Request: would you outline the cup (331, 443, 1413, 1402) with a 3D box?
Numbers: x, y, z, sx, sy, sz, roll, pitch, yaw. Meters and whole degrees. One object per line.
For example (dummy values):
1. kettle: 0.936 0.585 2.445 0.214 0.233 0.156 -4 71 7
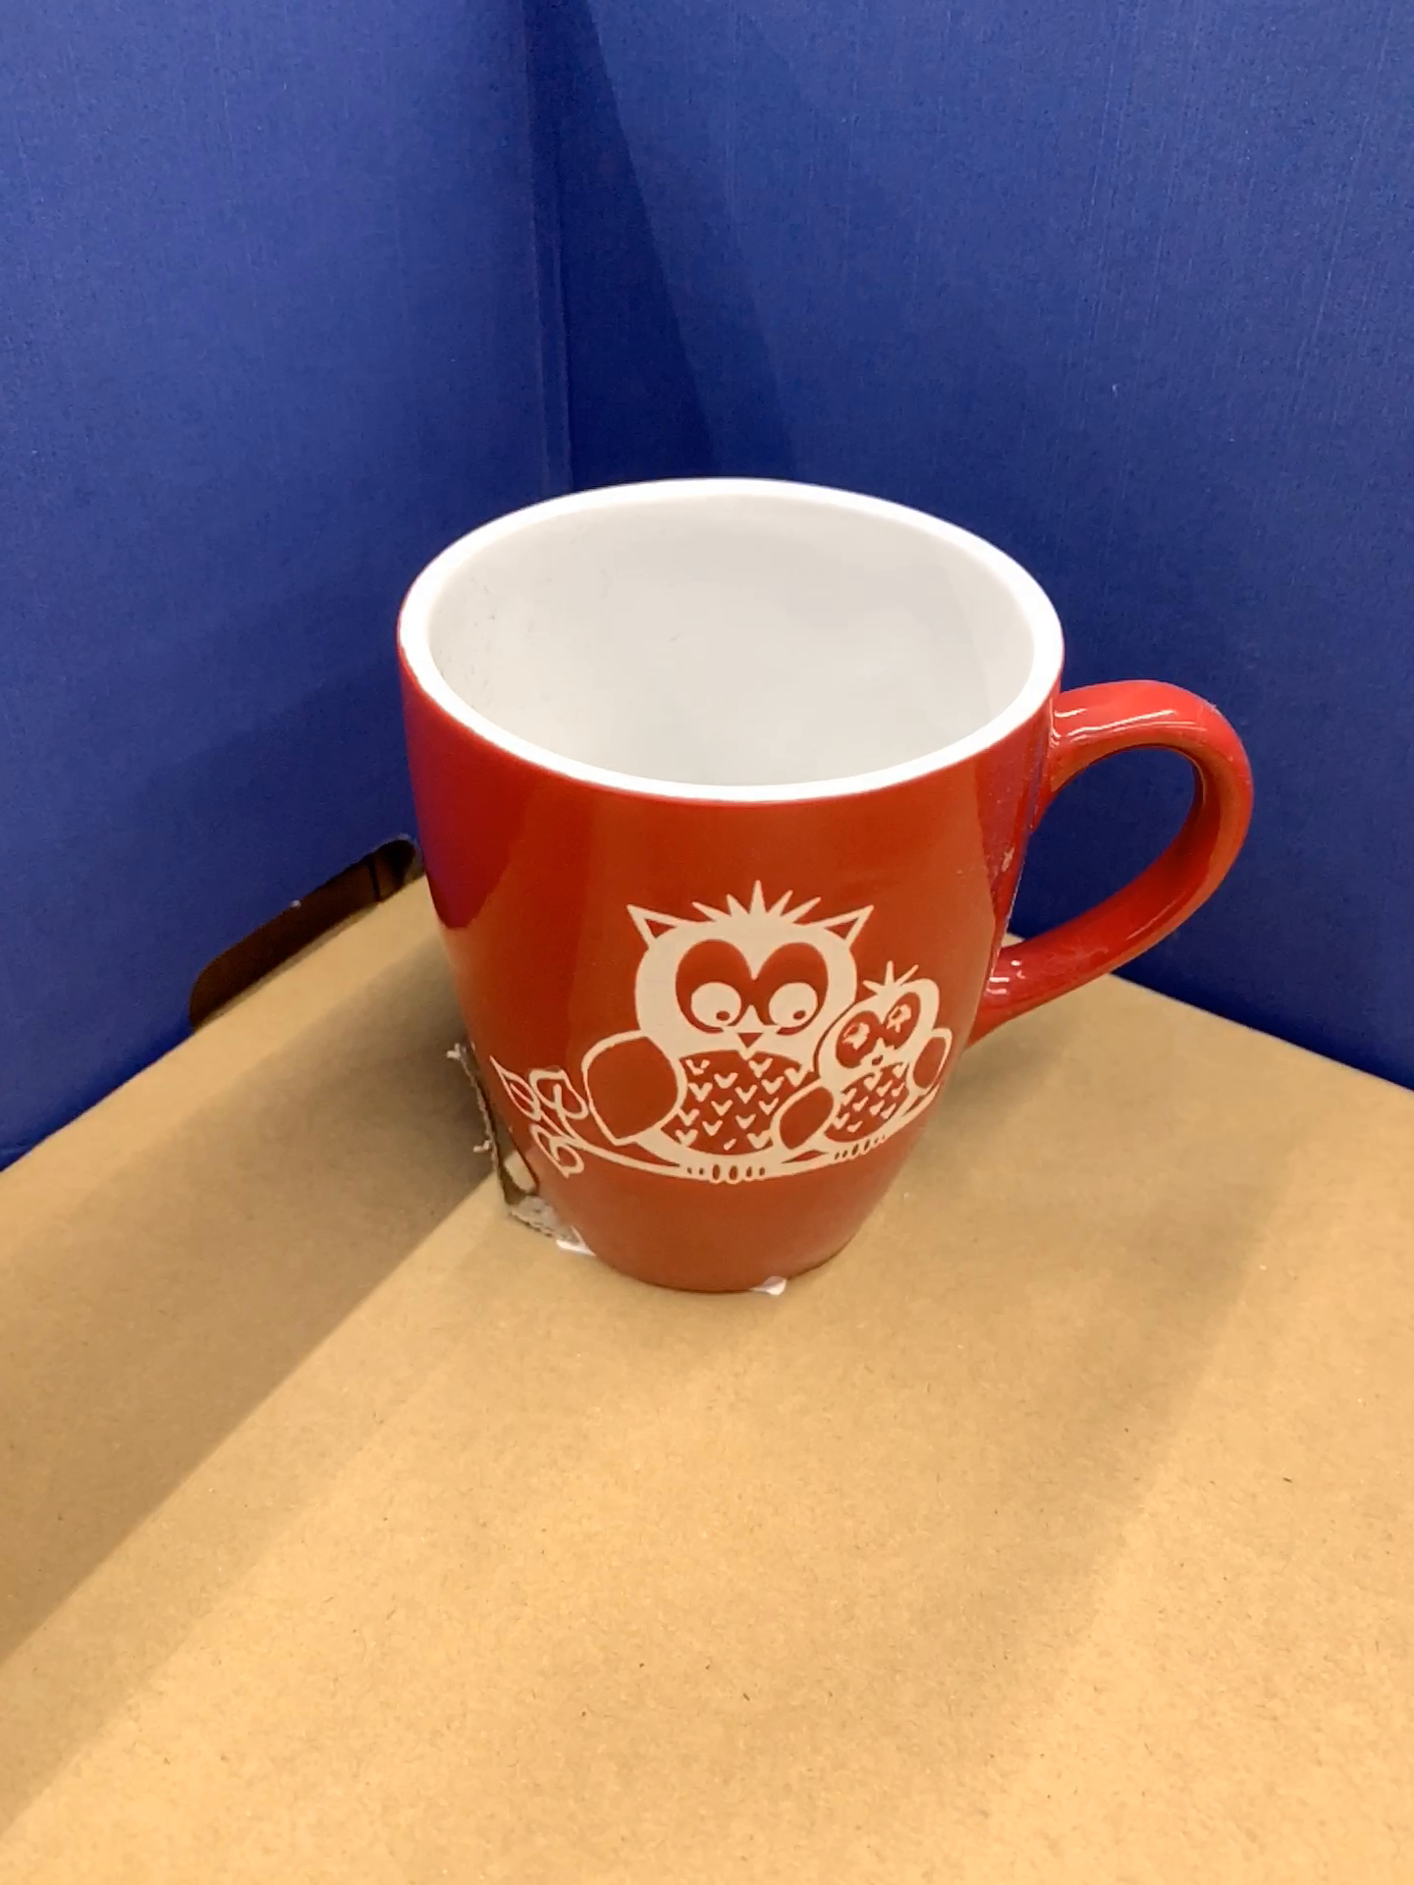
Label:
1. cup: 0.012 -0.011 0.226 0.120 0.091 0.100 -8 37 -12
